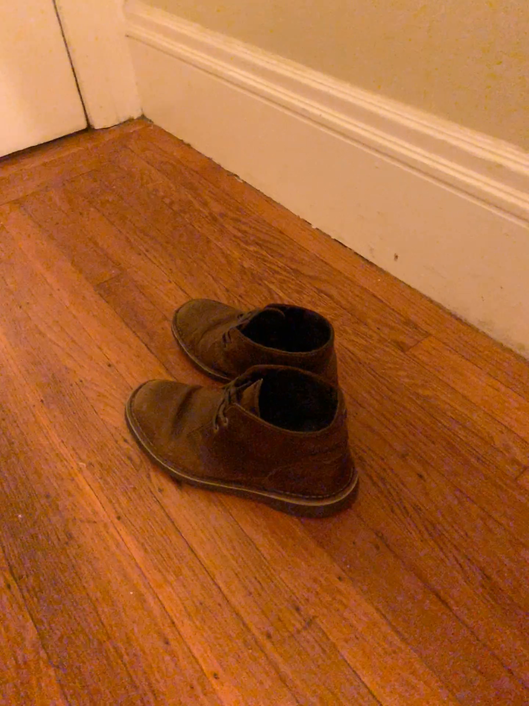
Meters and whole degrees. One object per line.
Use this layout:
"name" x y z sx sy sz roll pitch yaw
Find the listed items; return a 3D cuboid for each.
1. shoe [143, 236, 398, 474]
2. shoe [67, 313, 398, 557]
"shoe" -0.001 -0.010 0.659 0.120 0.119 0.291 -37 55 -27
"shoe" -0.032 0.077 0.568 0.301 0.119 0.120 16 50 18
